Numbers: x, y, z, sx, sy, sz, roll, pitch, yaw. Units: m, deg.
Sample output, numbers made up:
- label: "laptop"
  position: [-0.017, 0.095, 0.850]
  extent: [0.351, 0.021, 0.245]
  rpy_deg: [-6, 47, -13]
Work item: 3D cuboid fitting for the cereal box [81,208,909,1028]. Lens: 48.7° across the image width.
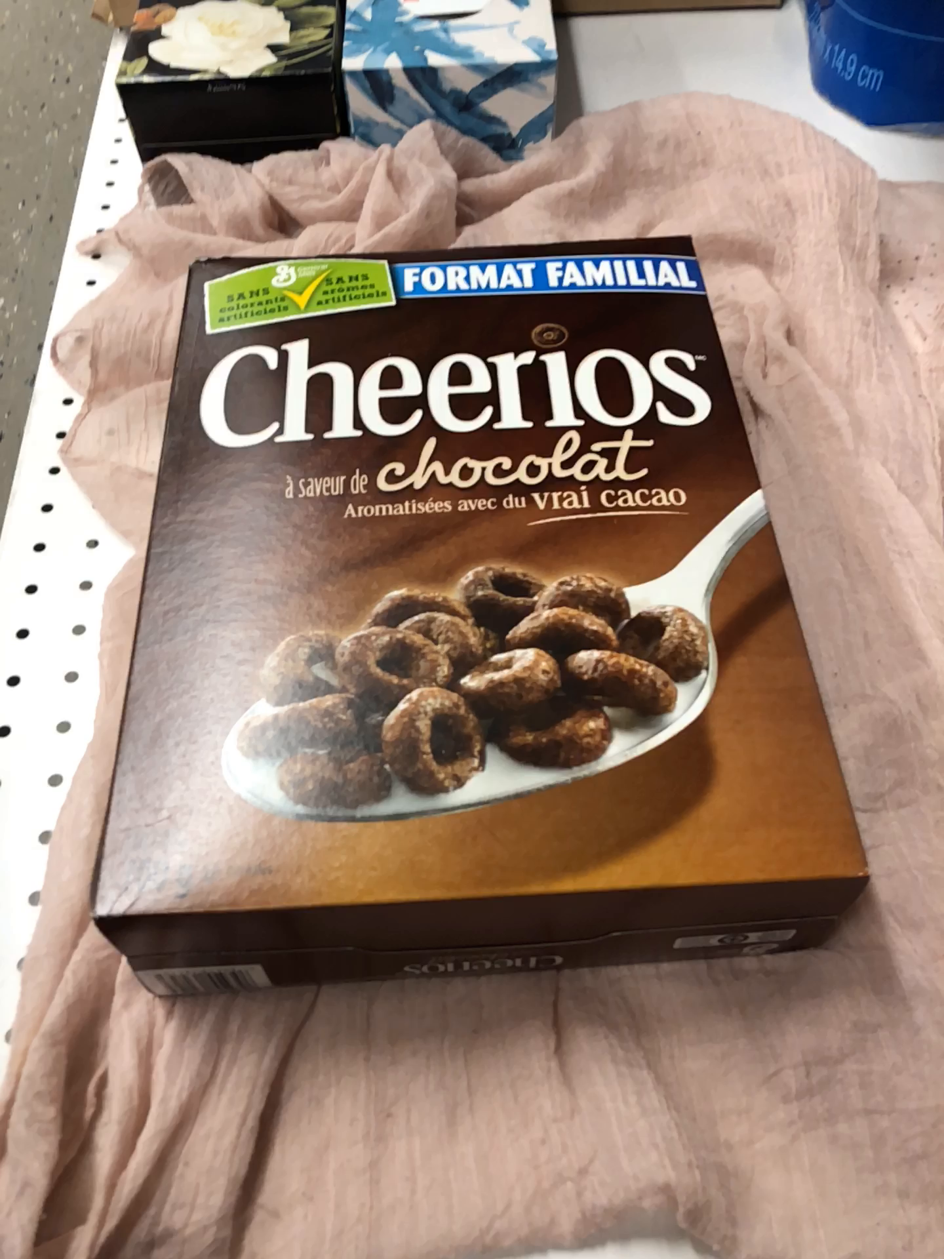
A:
- label: "cereal box"
  position: [-0.001, -0.029, 0.422]
  extent: [0.230, 0.090, 0.331]
  rpy_deg: [-3, 54, -1]
